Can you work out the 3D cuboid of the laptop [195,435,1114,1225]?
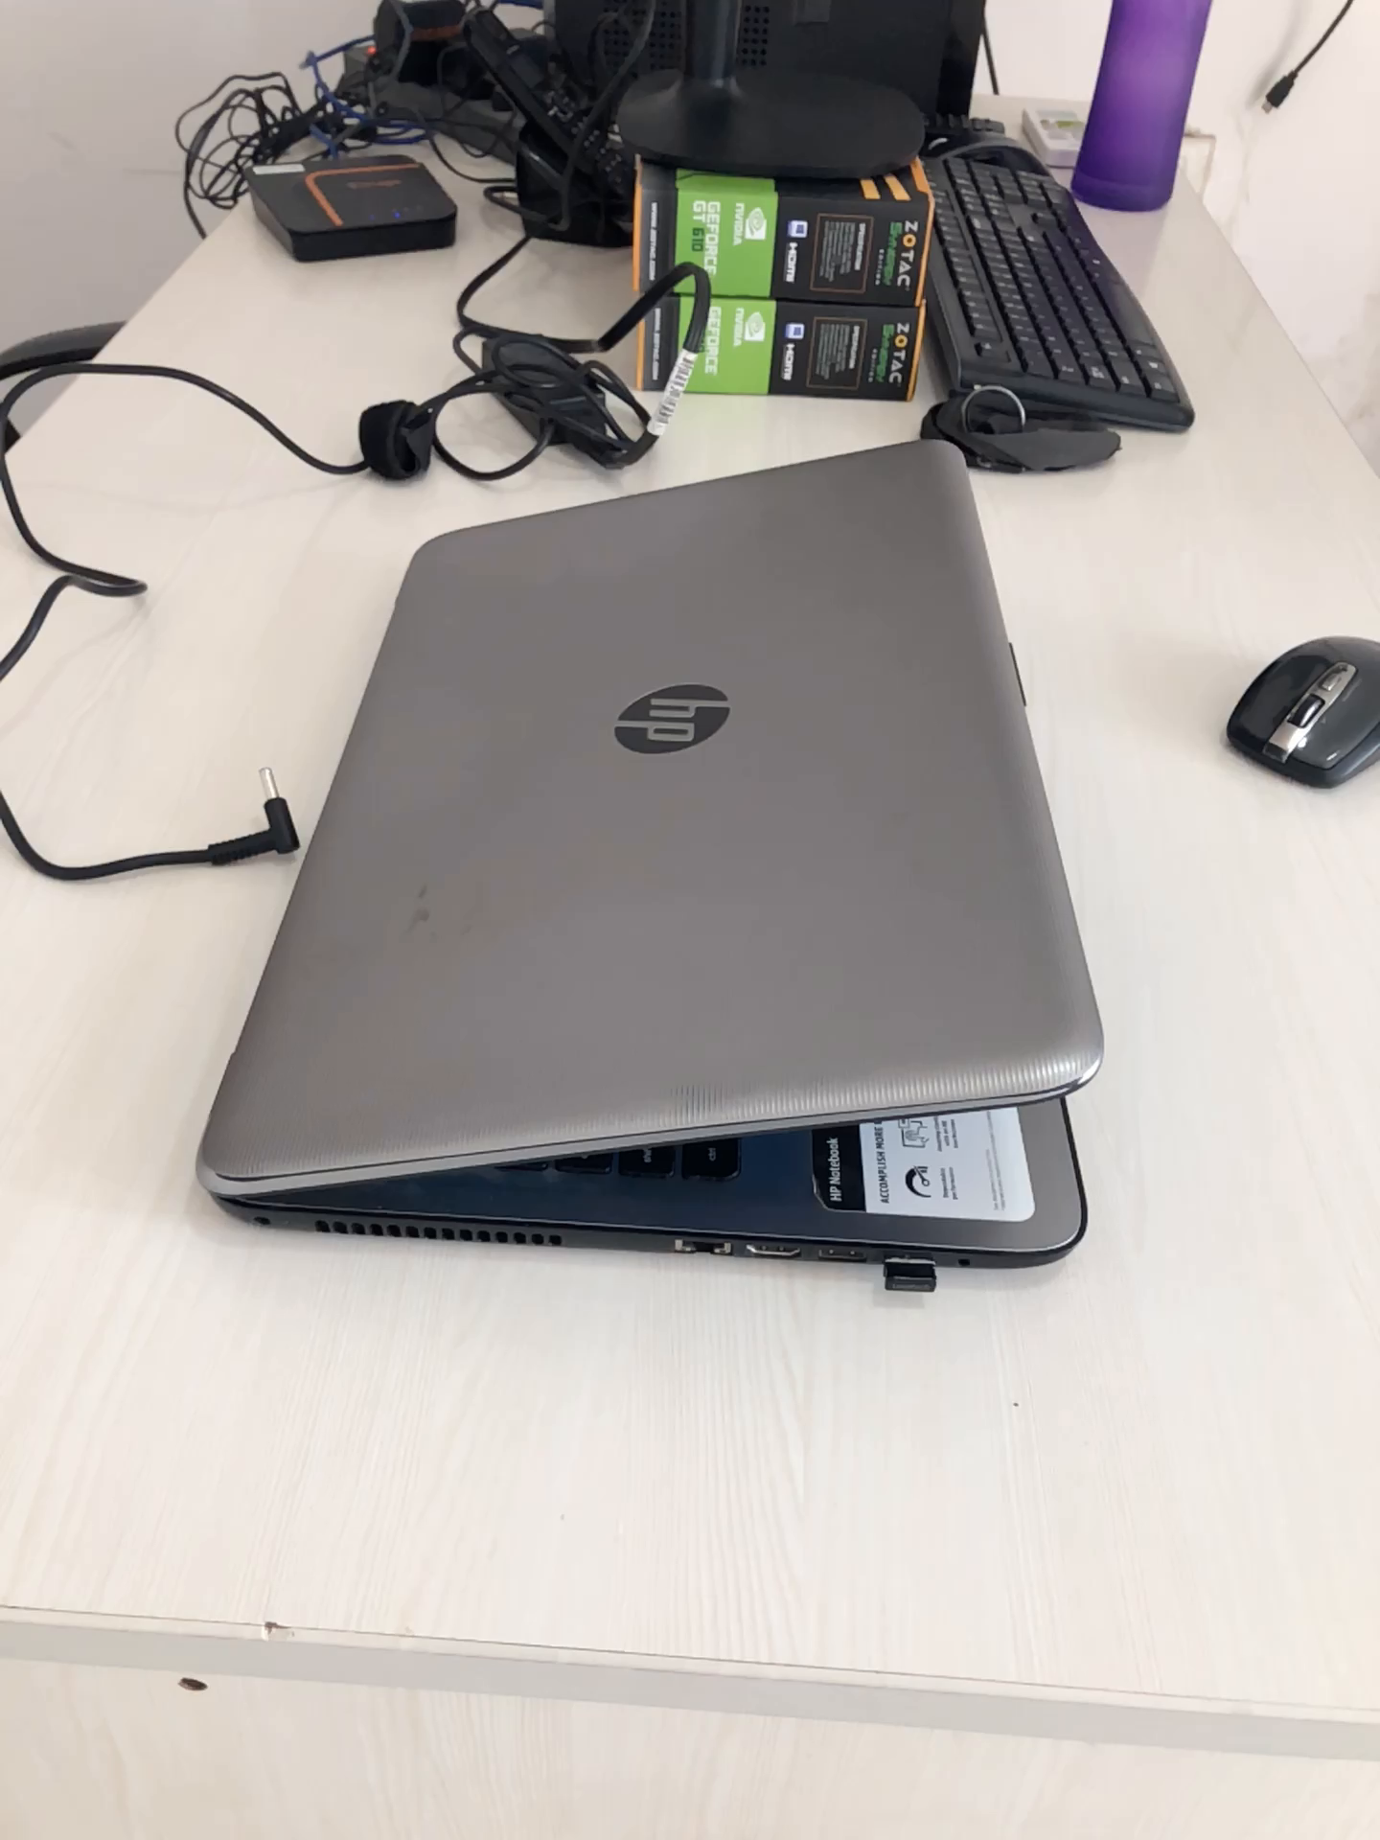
[{"bbox_3d":[-0.003,-0.060,0.529,0.226,0.062,0.358,3,41,0],"label":"laptop"}]
